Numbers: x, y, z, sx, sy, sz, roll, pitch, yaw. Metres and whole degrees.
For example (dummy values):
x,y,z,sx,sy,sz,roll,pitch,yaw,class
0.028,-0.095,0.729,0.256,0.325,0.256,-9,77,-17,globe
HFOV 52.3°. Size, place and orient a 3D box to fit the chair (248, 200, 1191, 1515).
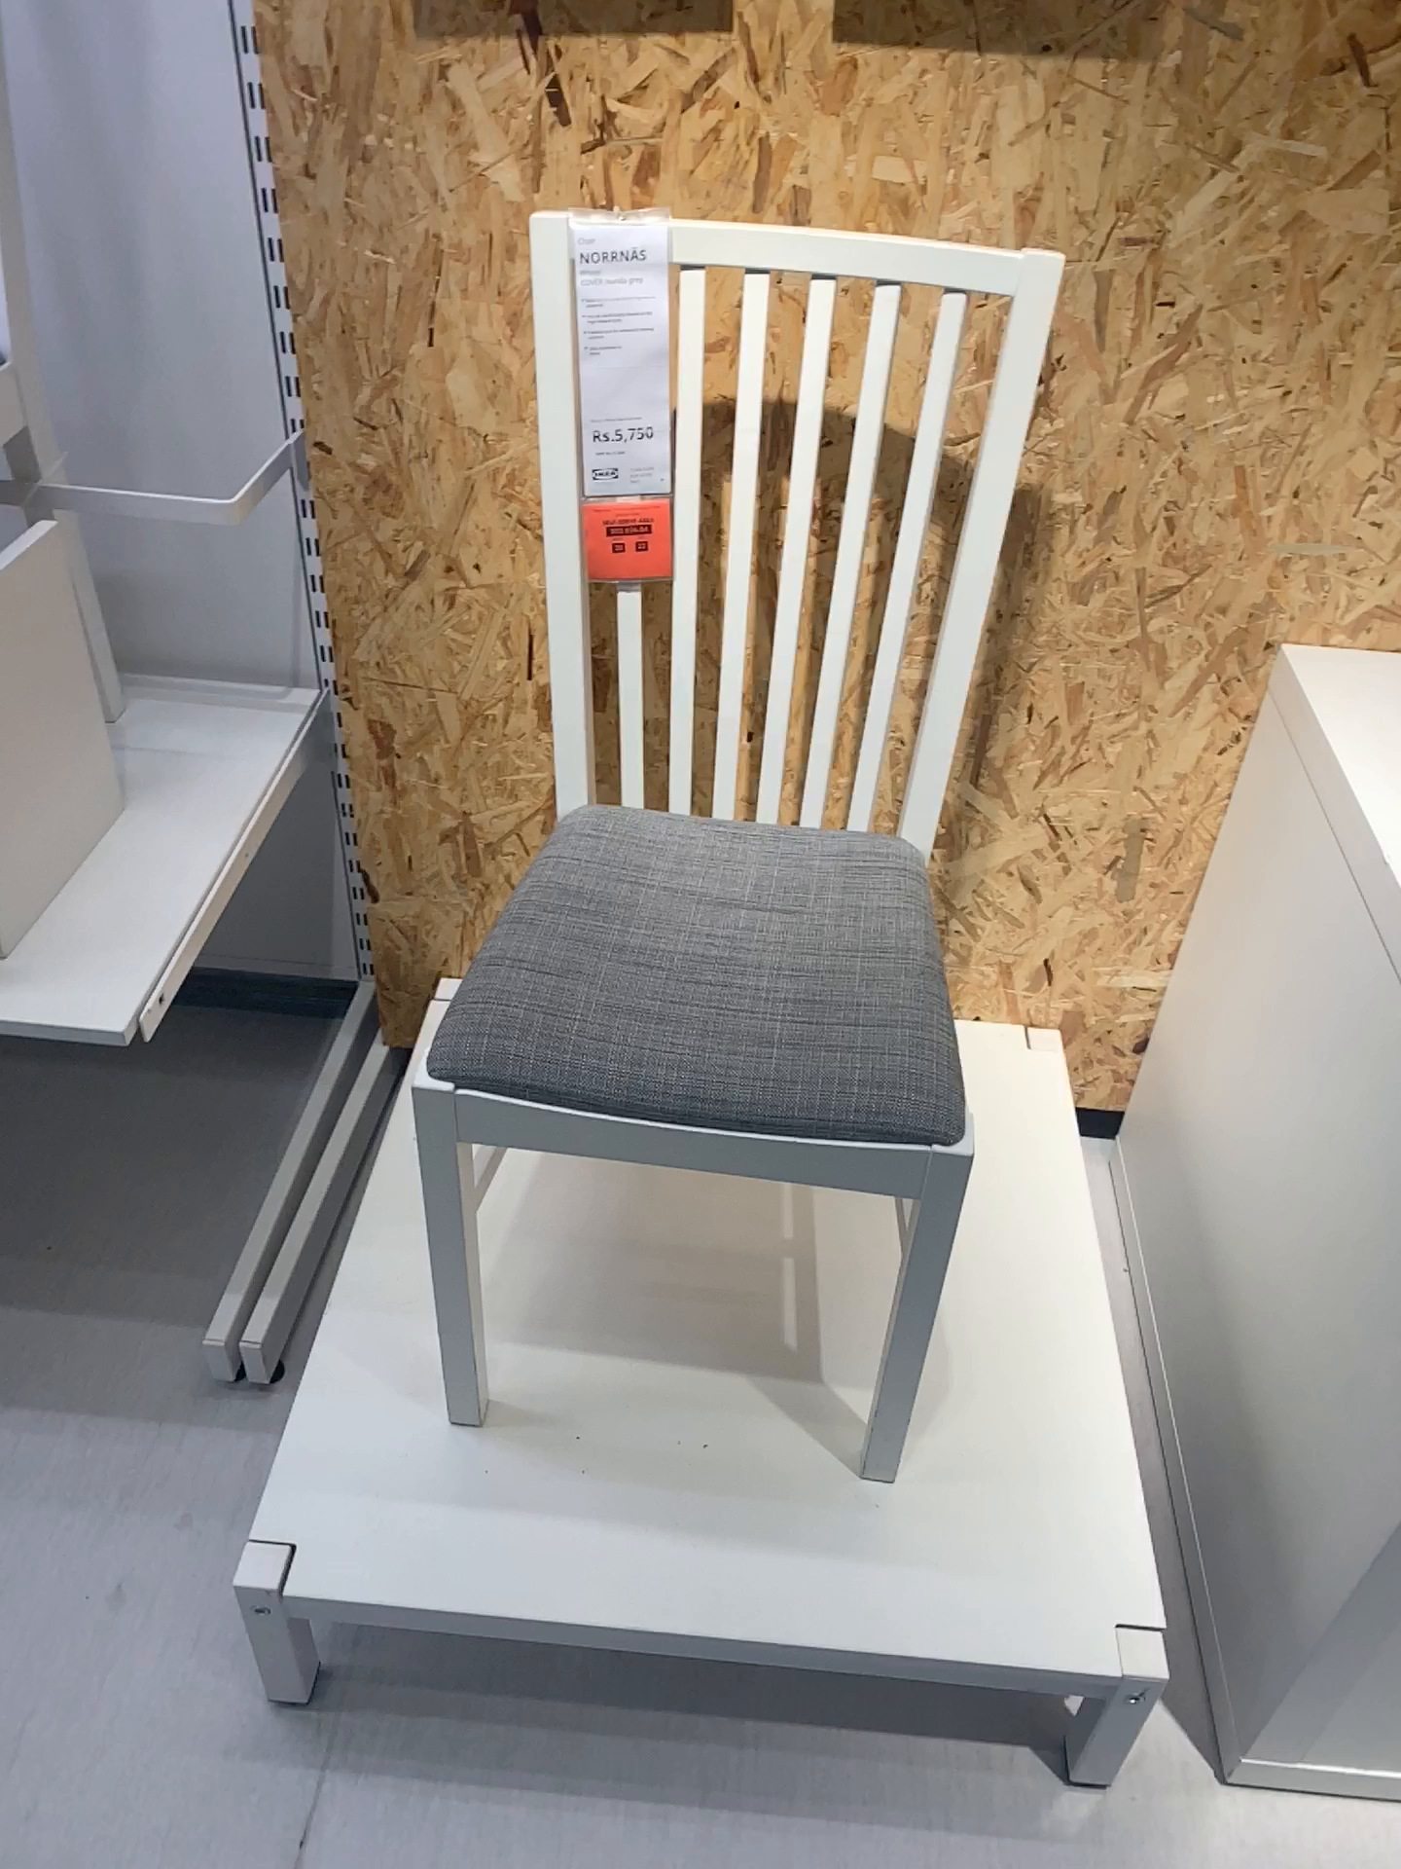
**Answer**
x,y,z,sx,sy,sz,roll,pitch,yaw,class
0.019,-0.049,1.216,0.470,0.896,0.592,6,39,4,chair
